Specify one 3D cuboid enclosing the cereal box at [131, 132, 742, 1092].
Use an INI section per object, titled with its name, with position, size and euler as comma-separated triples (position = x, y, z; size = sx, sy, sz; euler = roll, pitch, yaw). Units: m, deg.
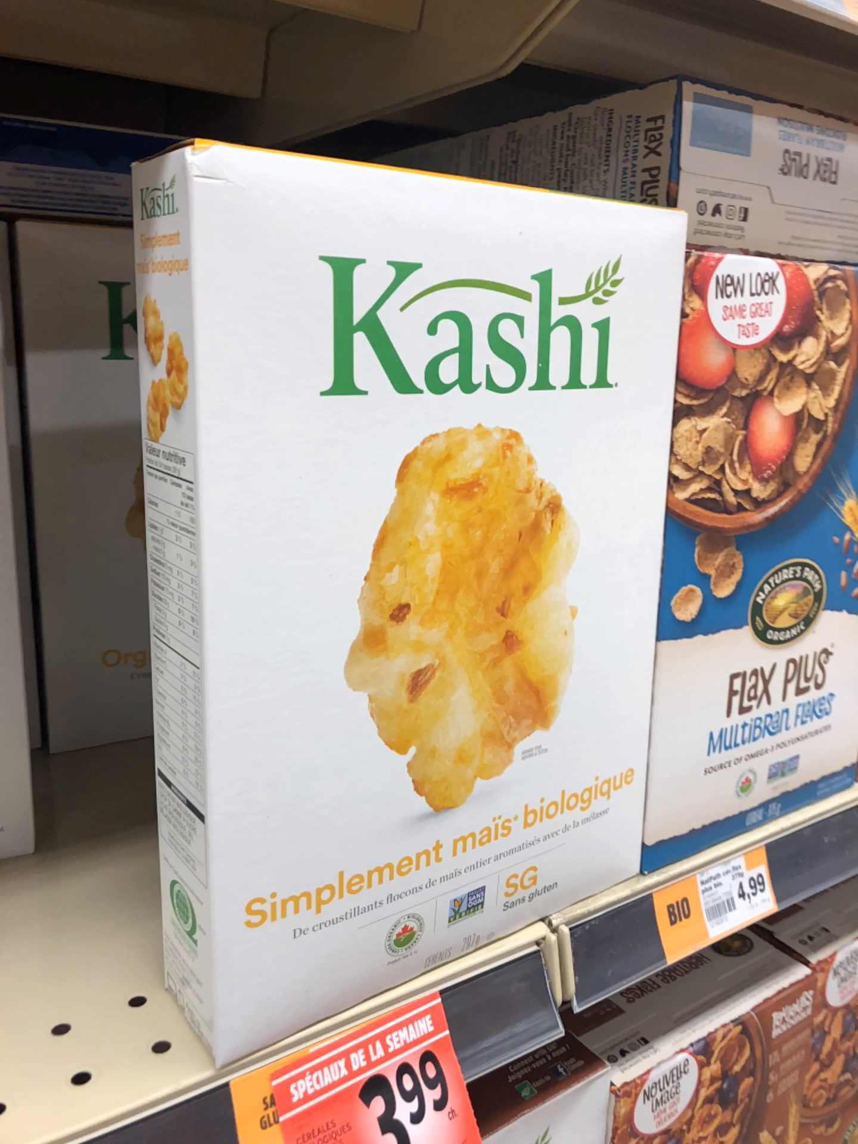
[cereal box]
position = 0.009, 0.008, 0.337
size = 0.200, 0.269, 0.060
euler = -8, 17, -36
